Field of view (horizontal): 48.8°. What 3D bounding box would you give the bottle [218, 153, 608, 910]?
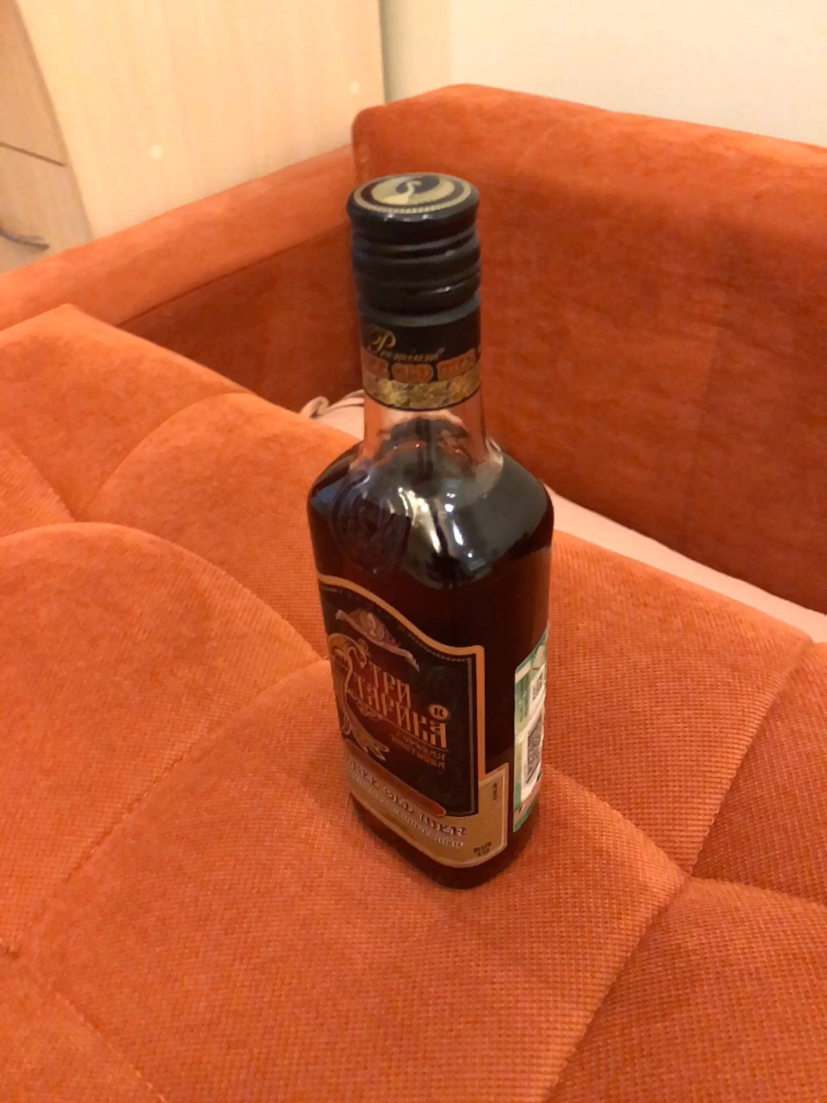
[{"bbox_3d":[0.005,0.010,0.292,0.074,0.237,0.056,28,49,32],"label":"bottle"}]
